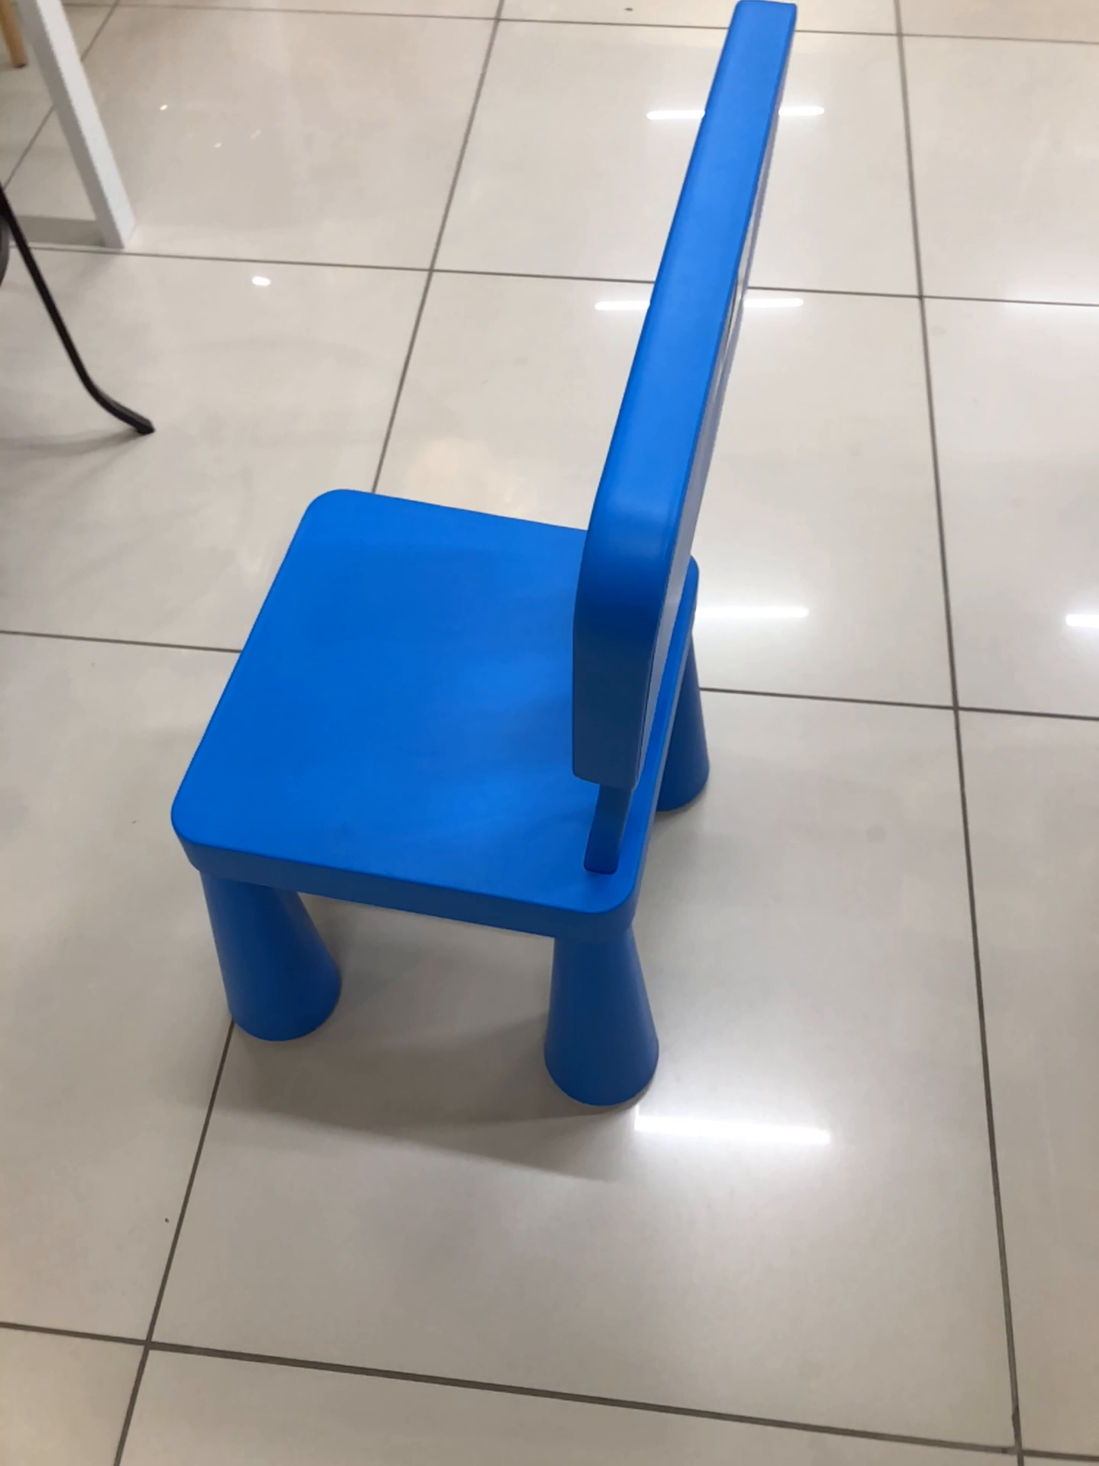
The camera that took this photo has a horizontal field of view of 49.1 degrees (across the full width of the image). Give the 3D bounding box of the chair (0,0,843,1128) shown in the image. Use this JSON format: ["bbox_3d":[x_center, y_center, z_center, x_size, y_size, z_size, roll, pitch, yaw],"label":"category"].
[{"bbox_3d":[-0.065,-0.051,0.779,0.355,0.666,0.357,10,58,8],"label":"chair"}]
